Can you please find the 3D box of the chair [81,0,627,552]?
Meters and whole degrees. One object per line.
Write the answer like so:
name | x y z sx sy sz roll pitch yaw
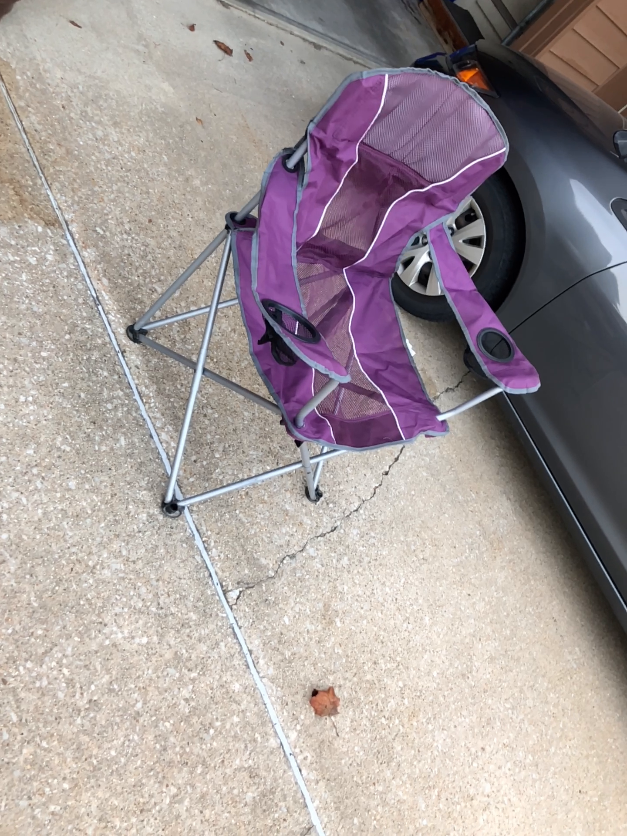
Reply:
chair | 0.095 -0.238 1.554 0.764 0.876 0.709 1 61 -45
